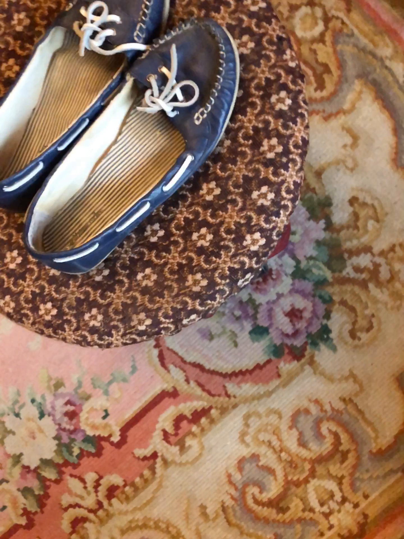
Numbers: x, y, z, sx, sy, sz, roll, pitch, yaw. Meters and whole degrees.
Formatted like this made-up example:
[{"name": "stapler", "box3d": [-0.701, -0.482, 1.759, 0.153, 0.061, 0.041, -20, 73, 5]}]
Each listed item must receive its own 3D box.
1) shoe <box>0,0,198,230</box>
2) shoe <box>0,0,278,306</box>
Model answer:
[{"name": "shoe", "box3d": [-0.120, -0.166, 0.364, 0.090, 0.090, 0.250, 36, 92, 9]}, {"name": "shoe", "box3d": [-0.056, -0.102, 0.366, 0.090, 0.100, 0.250, 39, 98, 2]}]
